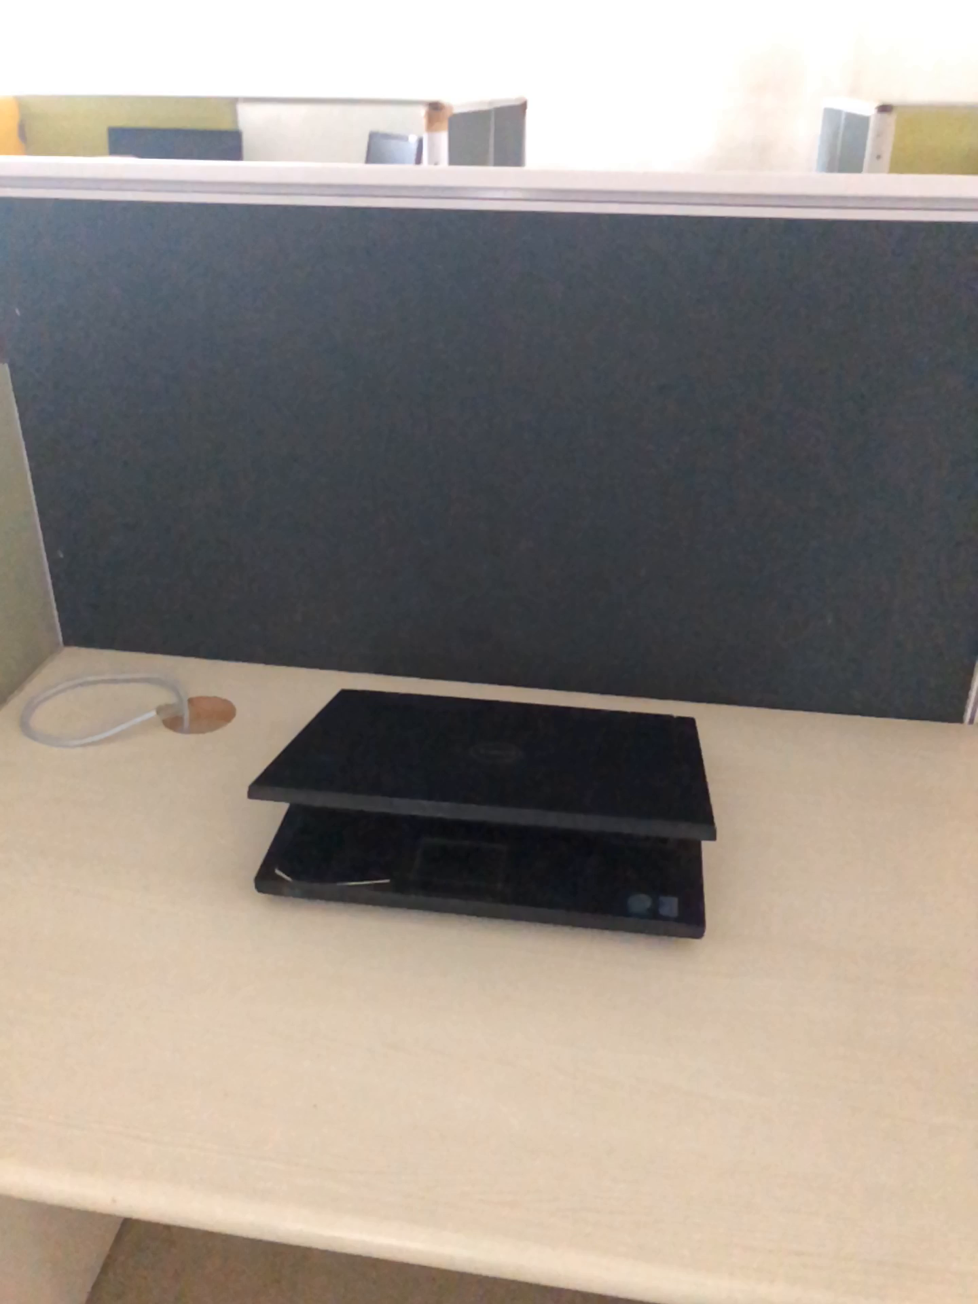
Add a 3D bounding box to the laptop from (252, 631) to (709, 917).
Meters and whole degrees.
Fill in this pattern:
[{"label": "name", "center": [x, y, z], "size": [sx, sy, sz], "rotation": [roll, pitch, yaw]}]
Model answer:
[{"label": "laptop", "center": [0.007, 0.079, 0.819], "size": [0.302, 0.064, 0.231], "rotation": [4, 31, 6]}]
